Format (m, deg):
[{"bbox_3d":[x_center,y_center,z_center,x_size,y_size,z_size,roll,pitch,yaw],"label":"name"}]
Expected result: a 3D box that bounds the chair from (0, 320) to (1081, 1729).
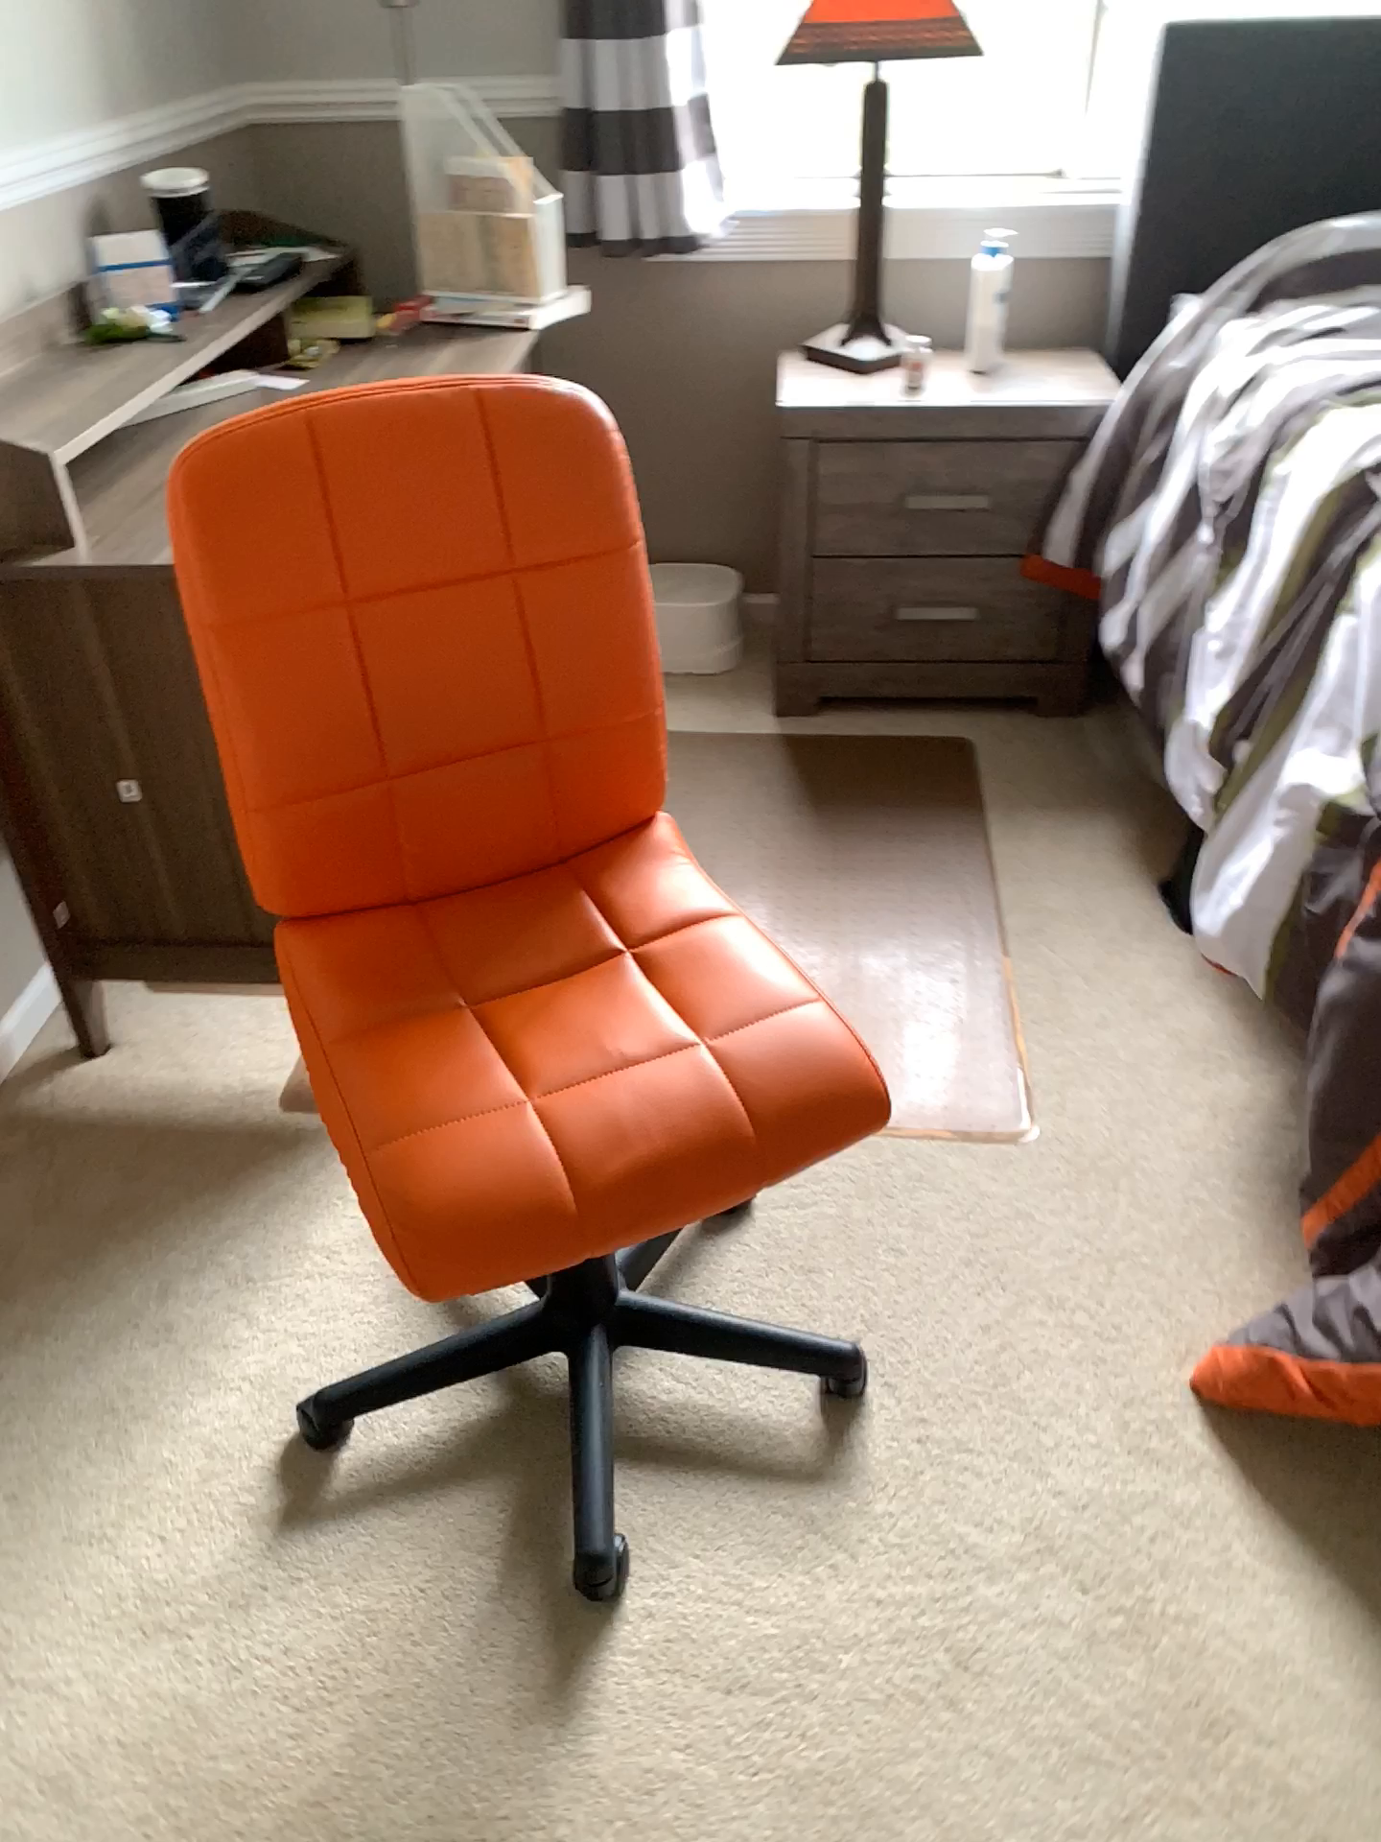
[{"bbox_3d":[-0.152,0.055,1.210,0.593,0.904,0.603,-14,36,-18],"label":"chair"}]
